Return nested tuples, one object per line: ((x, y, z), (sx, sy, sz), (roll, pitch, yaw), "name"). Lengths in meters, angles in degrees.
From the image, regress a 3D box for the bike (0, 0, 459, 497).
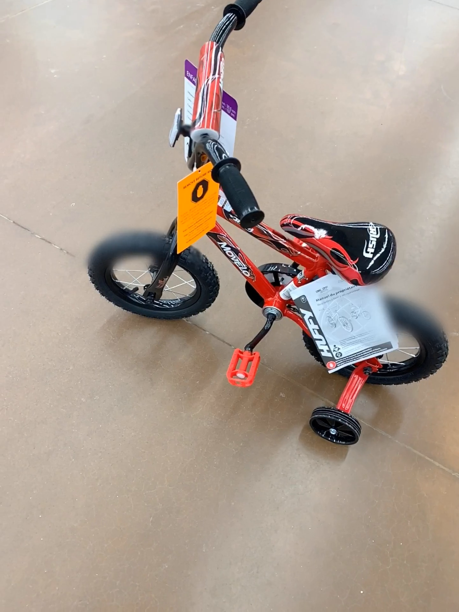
((0.071, -0.109, 0.759), (0.735, 0.605, 0.441), (17, 53, 4), "bike")
